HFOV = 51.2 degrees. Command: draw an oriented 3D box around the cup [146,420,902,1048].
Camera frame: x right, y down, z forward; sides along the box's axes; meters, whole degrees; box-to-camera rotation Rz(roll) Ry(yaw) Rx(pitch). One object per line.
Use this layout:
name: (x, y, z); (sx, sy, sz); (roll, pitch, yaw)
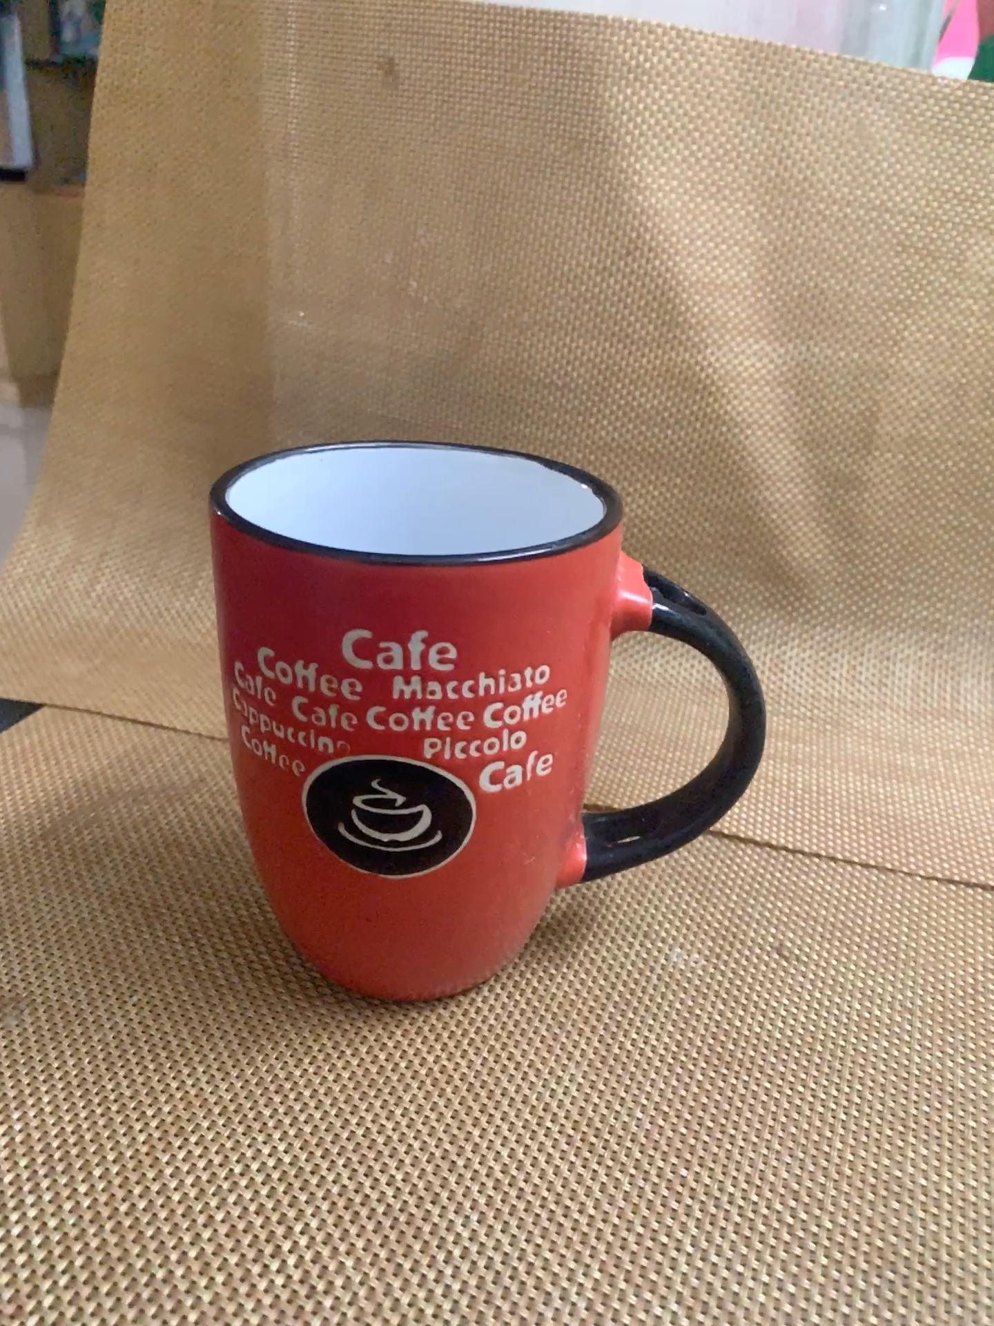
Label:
cup: (0.000, 0.009, 0.225); (0.120, 0.099, 0.091); (0, 25, -6)
